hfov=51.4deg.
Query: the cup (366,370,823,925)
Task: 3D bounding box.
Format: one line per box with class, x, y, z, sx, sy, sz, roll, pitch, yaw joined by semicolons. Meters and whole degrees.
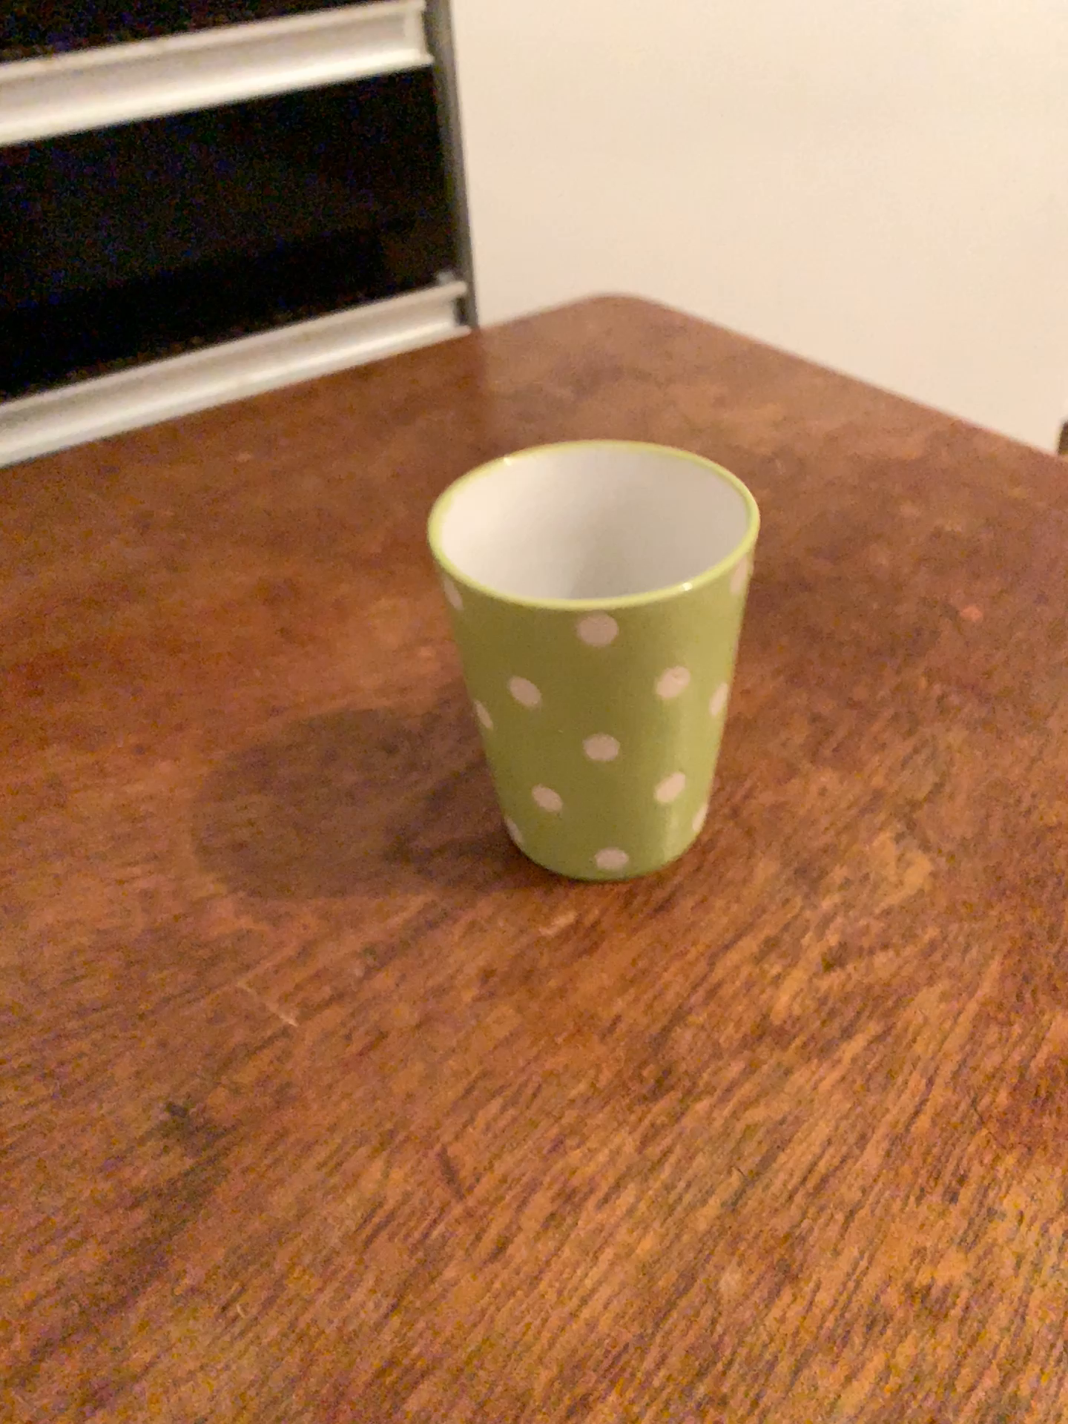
cup;0.026;-0.025;0.322;0.090;0.099;0.121;9;40;17
